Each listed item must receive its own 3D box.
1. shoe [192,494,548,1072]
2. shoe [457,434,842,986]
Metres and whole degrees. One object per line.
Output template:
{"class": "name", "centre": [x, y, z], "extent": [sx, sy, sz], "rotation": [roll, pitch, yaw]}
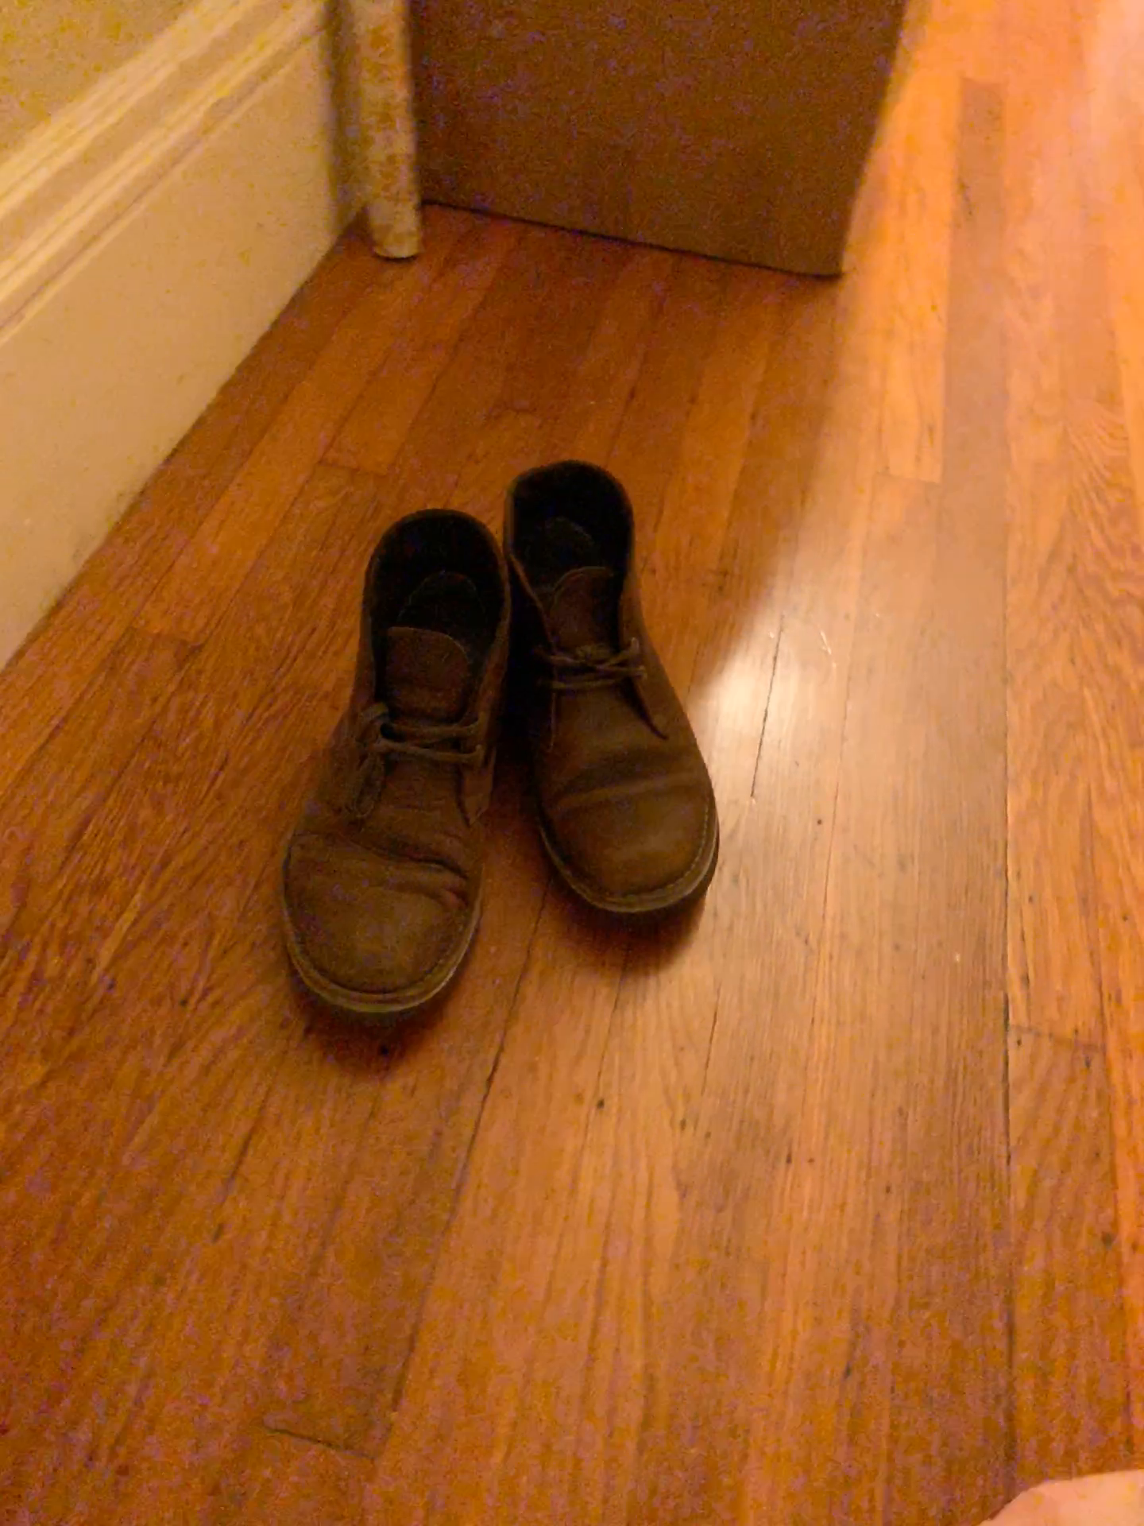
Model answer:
{"class": "shoe", "centre": [-0.092, -0.001, 0.638], "extent": [0.120, 0.119, 0.291], "rotation": [7, 50, 0]}
{"class": "shoe", "centre": [0.024, -0.044, 0.675], "extent": [0.120, 0.119, 0.301], "rotation": [-9, 52, -13]}
